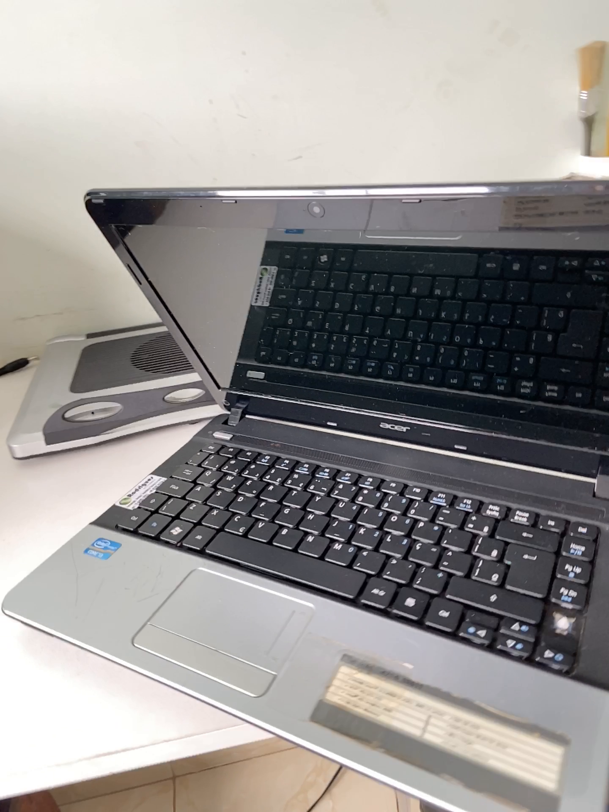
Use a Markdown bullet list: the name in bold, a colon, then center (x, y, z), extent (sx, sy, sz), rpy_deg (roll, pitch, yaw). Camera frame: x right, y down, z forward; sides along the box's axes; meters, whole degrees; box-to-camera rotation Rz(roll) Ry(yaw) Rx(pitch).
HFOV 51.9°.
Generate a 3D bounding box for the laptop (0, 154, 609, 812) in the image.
- **laptop**: center (-0.004, -0.002, 0.348), extent (0.327, 0.211, 0.239), rpy_deg (9, 32, 27)
